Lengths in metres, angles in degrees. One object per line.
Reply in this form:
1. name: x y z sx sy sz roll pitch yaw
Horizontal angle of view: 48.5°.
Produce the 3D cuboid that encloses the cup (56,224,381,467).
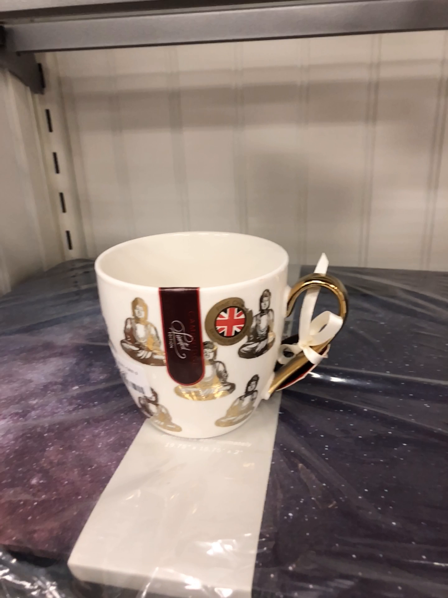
1. cup: 0.003 0.018 0.271 0.137 0.089 0.101 0 23 7
